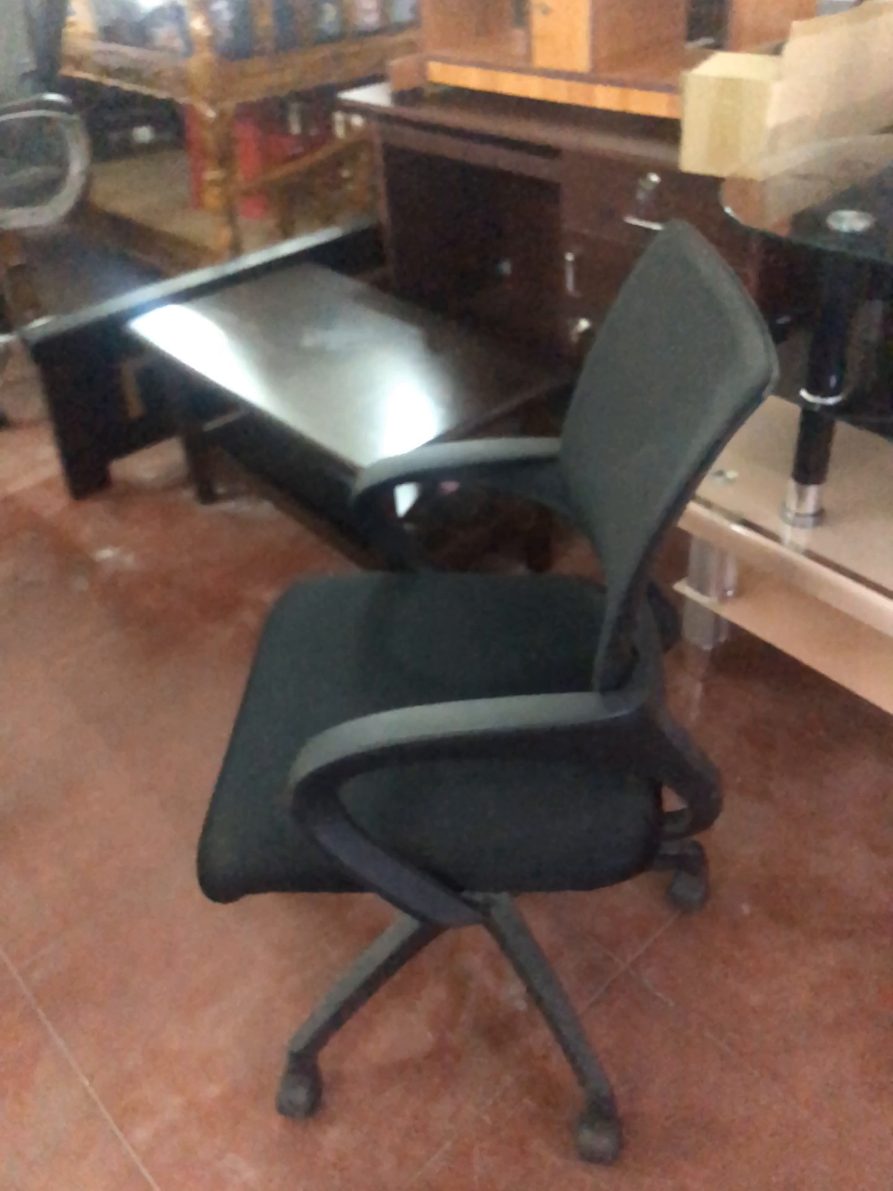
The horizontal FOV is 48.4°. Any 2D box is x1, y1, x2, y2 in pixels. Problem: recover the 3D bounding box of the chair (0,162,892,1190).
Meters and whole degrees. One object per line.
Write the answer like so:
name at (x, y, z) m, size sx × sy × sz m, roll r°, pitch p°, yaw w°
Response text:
chair at (0.024, 0.093, 1.169) m, size 0.630 × 0.915 × 0.754 m, roll -2°, pitch 37°, yaw 3°
